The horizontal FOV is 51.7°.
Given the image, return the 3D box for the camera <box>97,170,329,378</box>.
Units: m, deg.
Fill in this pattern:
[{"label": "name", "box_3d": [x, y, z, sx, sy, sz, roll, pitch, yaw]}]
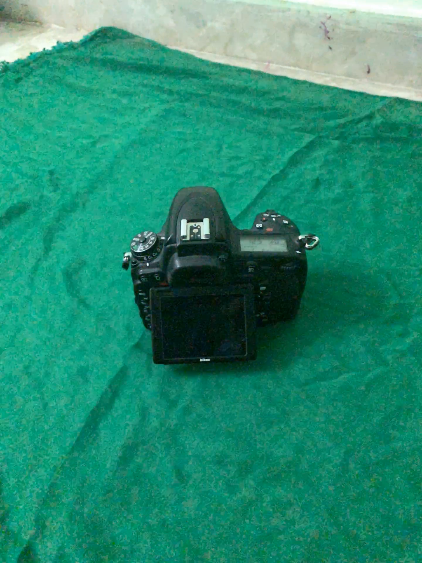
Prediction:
[{"label": "camera", "box_3d": [0.006, -0.007, 0.345, 0.142, 0.100, 0.129, 0, 50, 5]}]
